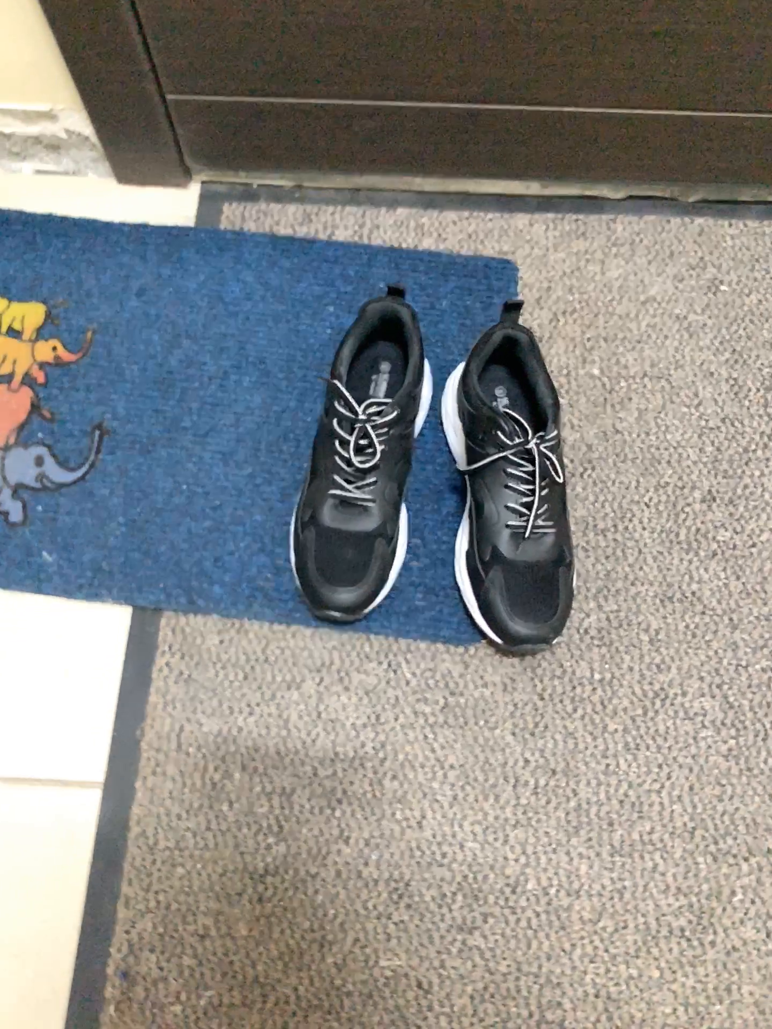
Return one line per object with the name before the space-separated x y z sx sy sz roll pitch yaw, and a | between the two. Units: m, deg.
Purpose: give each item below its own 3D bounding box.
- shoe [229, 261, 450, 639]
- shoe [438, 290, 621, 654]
shoe | -0.026 -0.051 0.616 0.110 0.100 0.260 9 69 4
shoe | 0.099 -0.033 0.611 0.110 0.100 0.260 0 68 1
